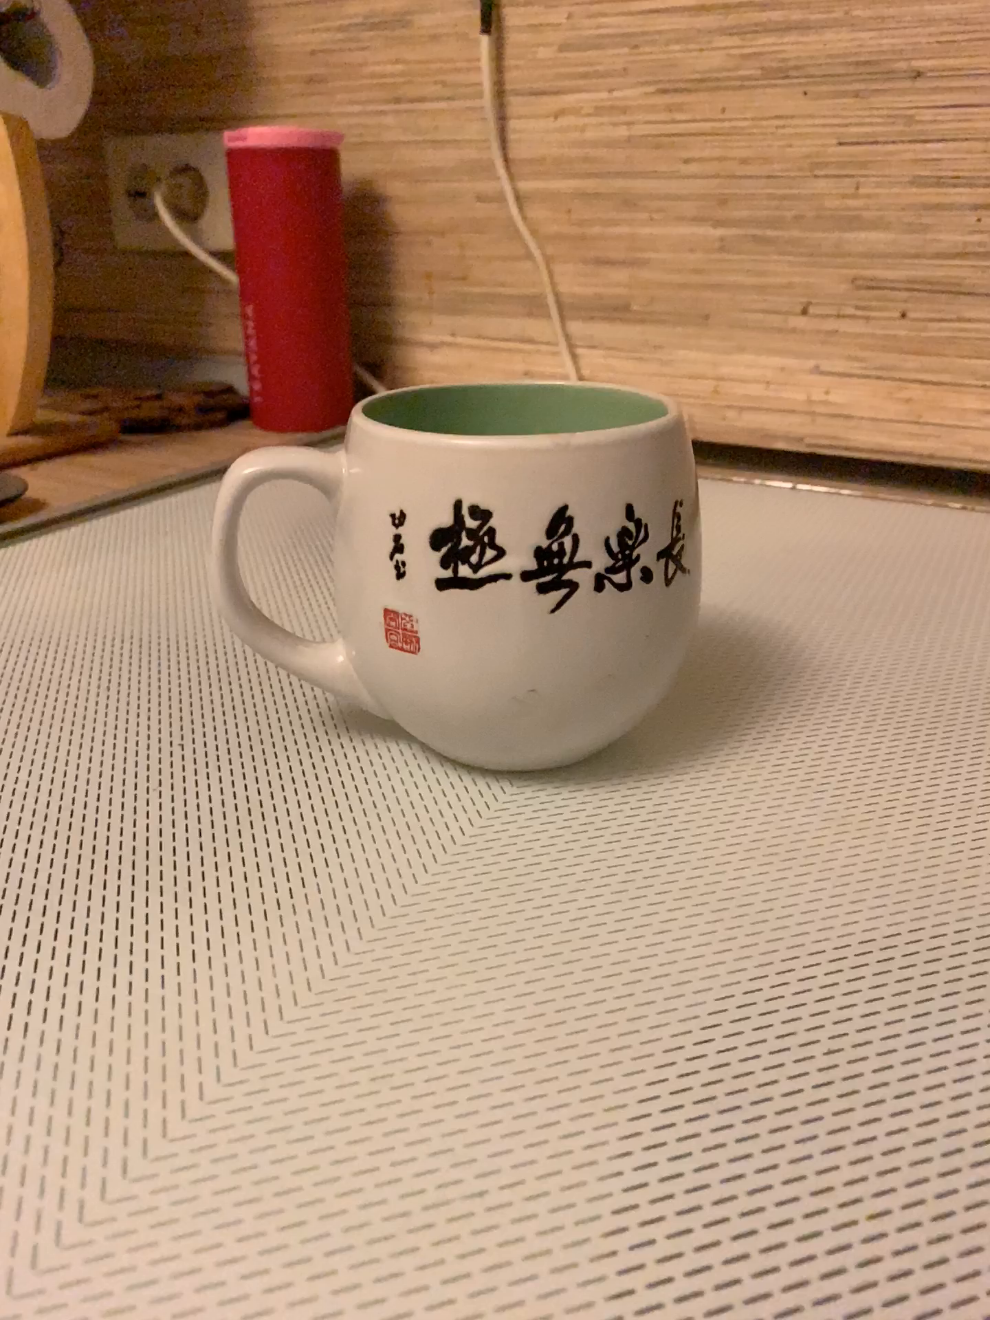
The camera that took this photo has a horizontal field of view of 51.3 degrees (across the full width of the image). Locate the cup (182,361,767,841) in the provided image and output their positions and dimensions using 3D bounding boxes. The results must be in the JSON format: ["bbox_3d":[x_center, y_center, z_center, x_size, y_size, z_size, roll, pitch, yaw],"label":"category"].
[{"bbox_3d":[-0.011,-0.025,0.272,0.124,0.091,0.088,-7,24,-18],"label":"cup"}]
